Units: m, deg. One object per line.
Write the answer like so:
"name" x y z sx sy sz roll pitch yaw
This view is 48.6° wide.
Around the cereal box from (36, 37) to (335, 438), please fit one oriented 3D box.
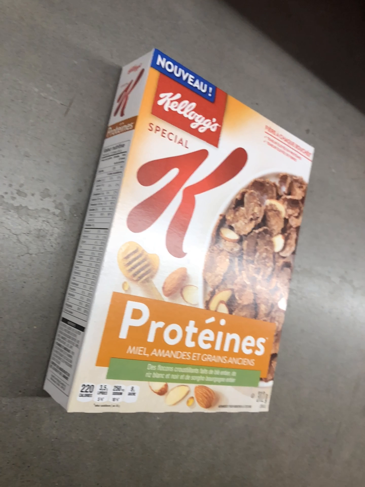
"cereal box" 0.021 0.012 0.323 0.201 0.050 0.250 16 83 -35
